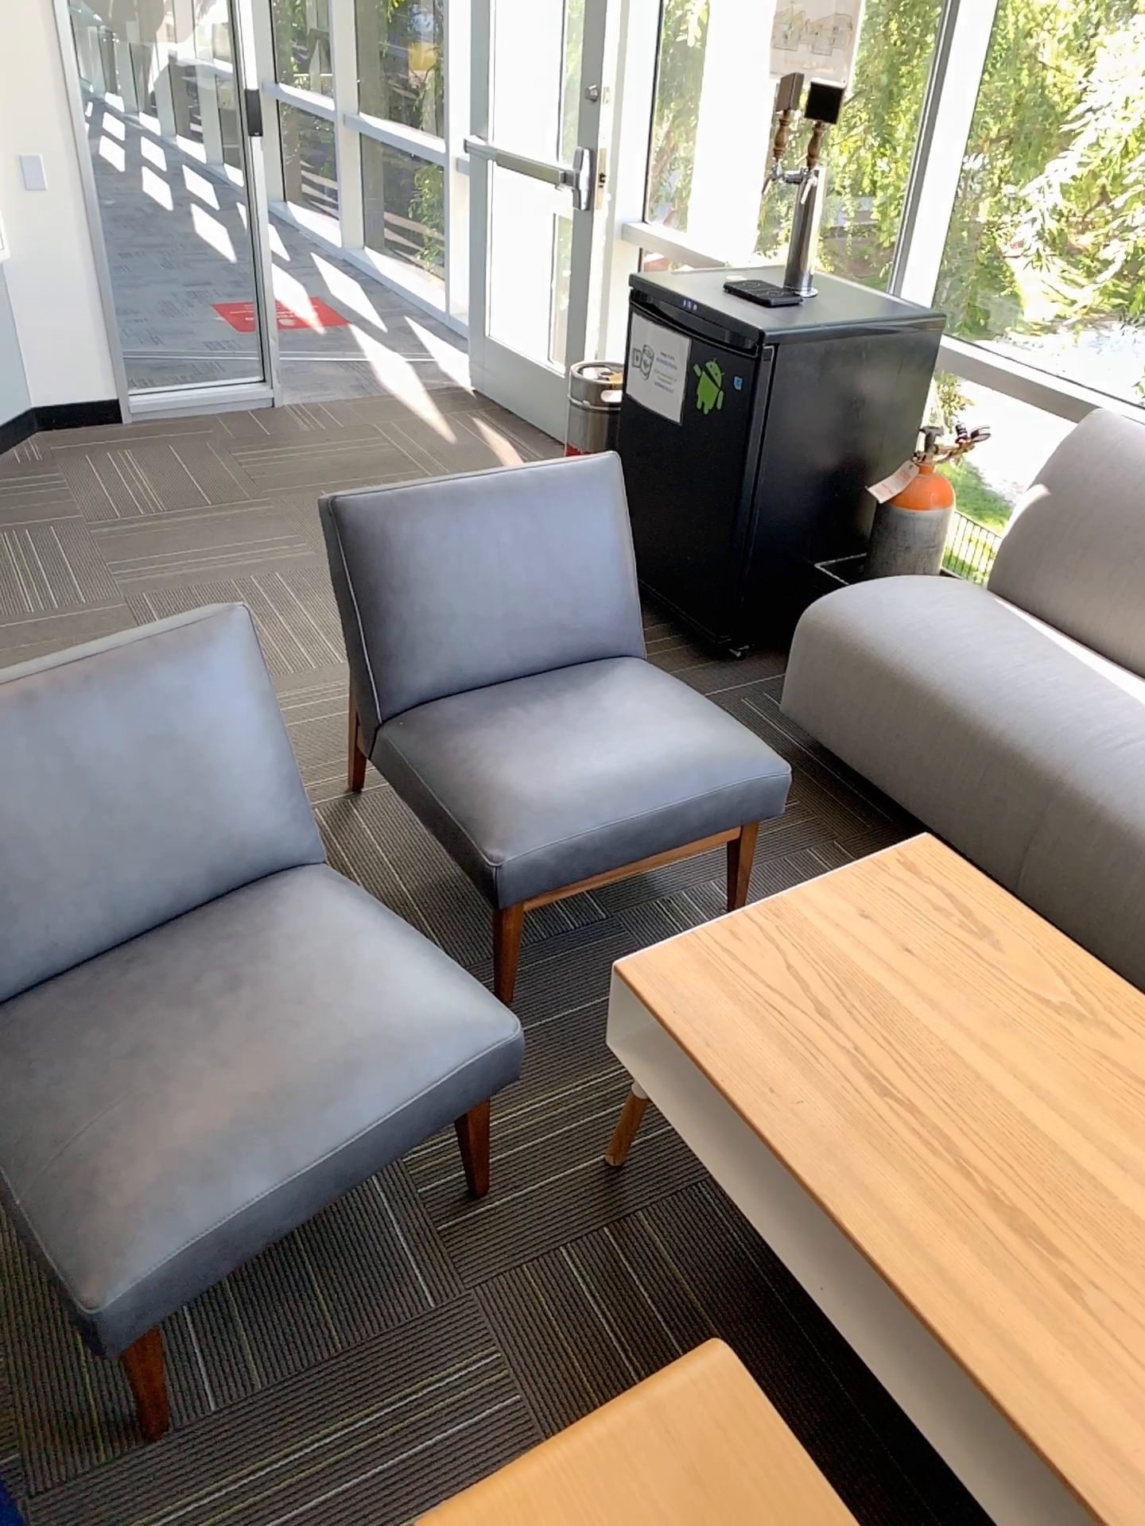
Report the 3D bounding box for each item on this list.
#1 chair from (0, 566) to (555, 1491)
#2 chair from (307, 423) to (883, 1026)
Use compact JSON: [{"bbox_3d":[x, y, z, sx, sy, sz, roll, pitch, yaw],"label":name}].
[{"bbox_3d":[-0.581,0.298,1.711,0.681,0.766,0.854,-26,44,-36],"label":"chair"},{"bbox_3d":[-0.008,-0.144,2.404,0.741,0.766,0.854,-17,40,-28],"label":"chair"}]
